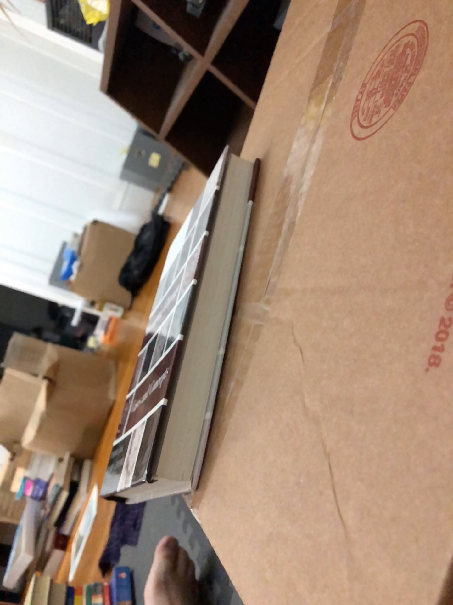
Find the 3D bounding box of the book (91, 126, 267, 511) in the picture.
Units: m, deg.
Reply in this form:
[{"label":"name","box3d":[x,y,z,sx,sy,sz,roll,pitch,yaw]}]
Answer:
[{"label":"book","box3d":[-0.039,0.020,0.387,0.180,0.030,0.250,135,150,-57]}]
